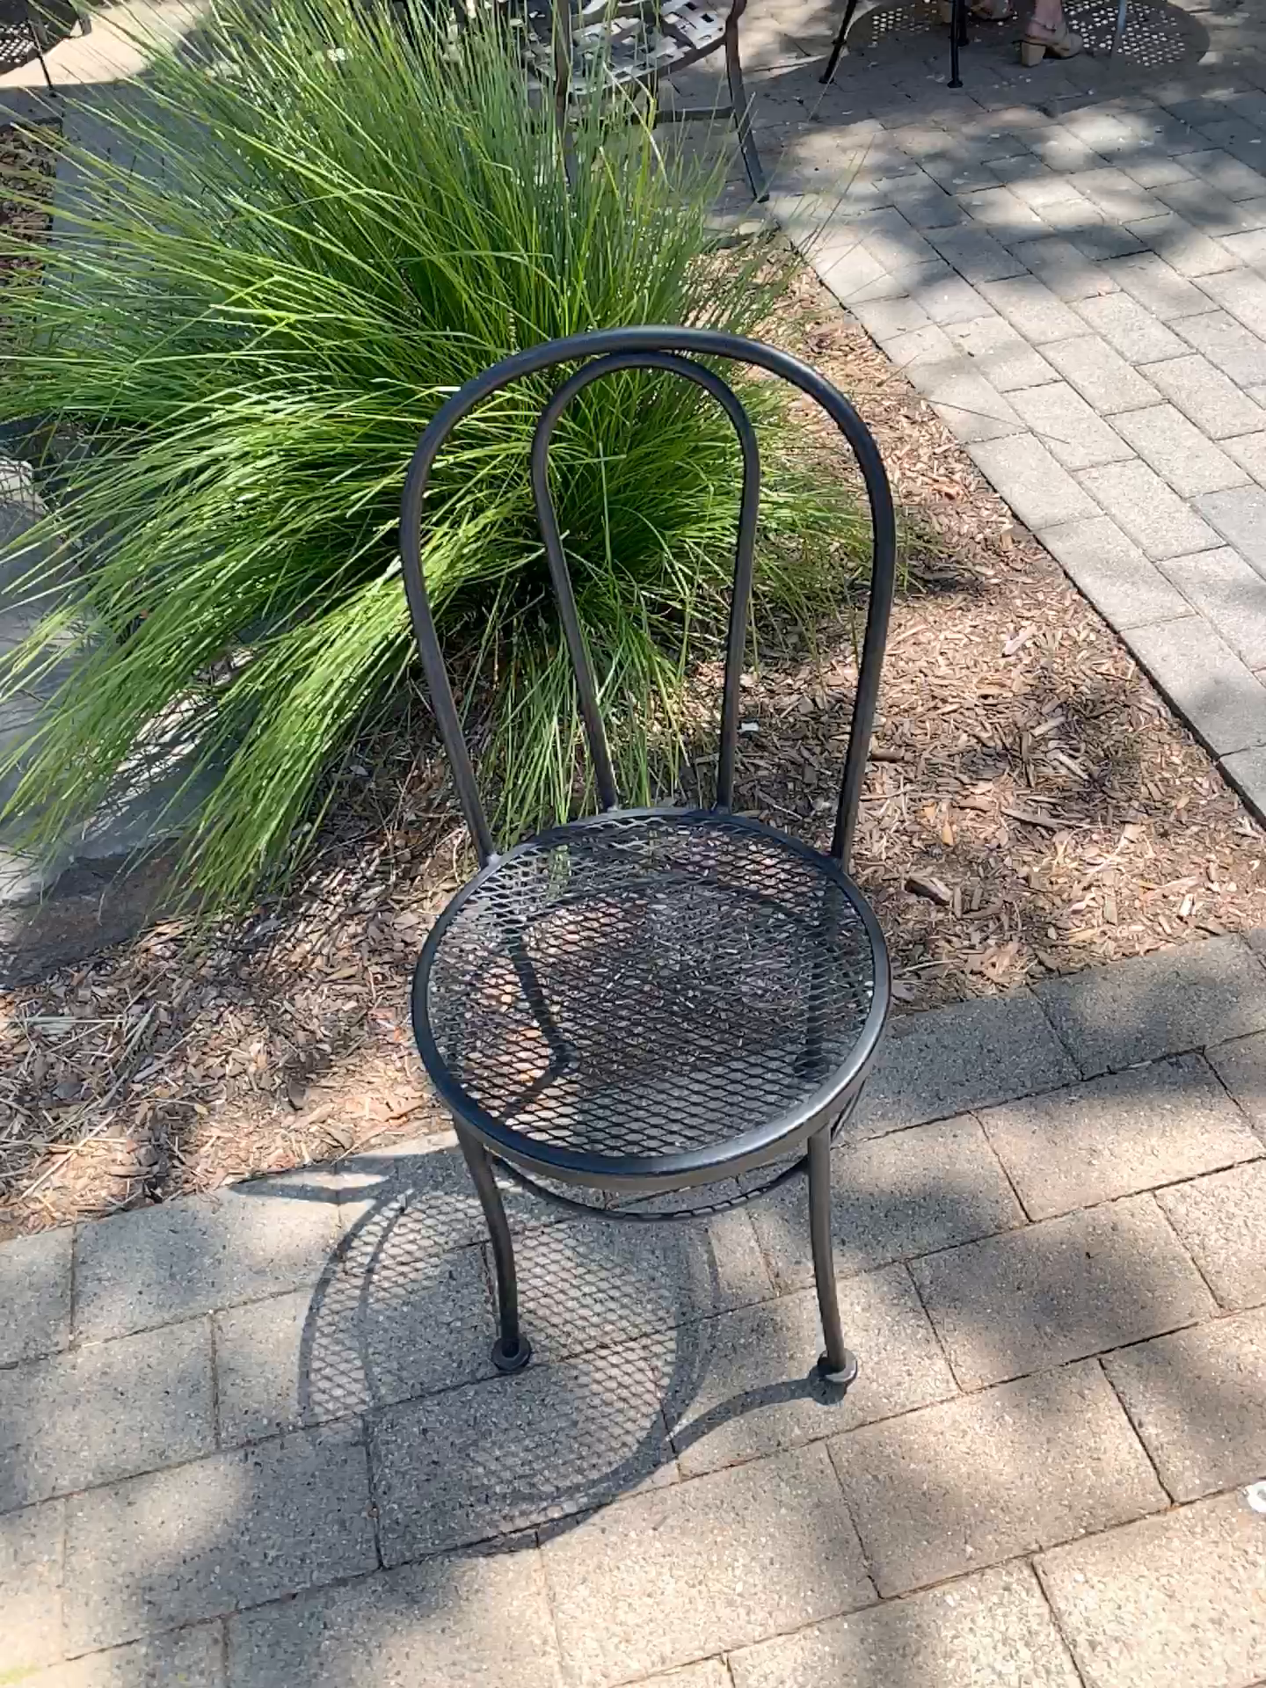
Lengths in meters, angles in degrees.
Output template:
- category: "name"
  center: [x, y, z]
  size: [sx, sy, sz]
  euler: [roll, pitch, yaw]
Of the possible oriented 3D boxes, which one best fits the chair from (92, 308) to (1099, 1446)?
- category: "chair"
  center: [-0.002, 0.074, 1.083]
  size: [0.470, 0.788, 0.541]
  euler: [0, 47, 3]
